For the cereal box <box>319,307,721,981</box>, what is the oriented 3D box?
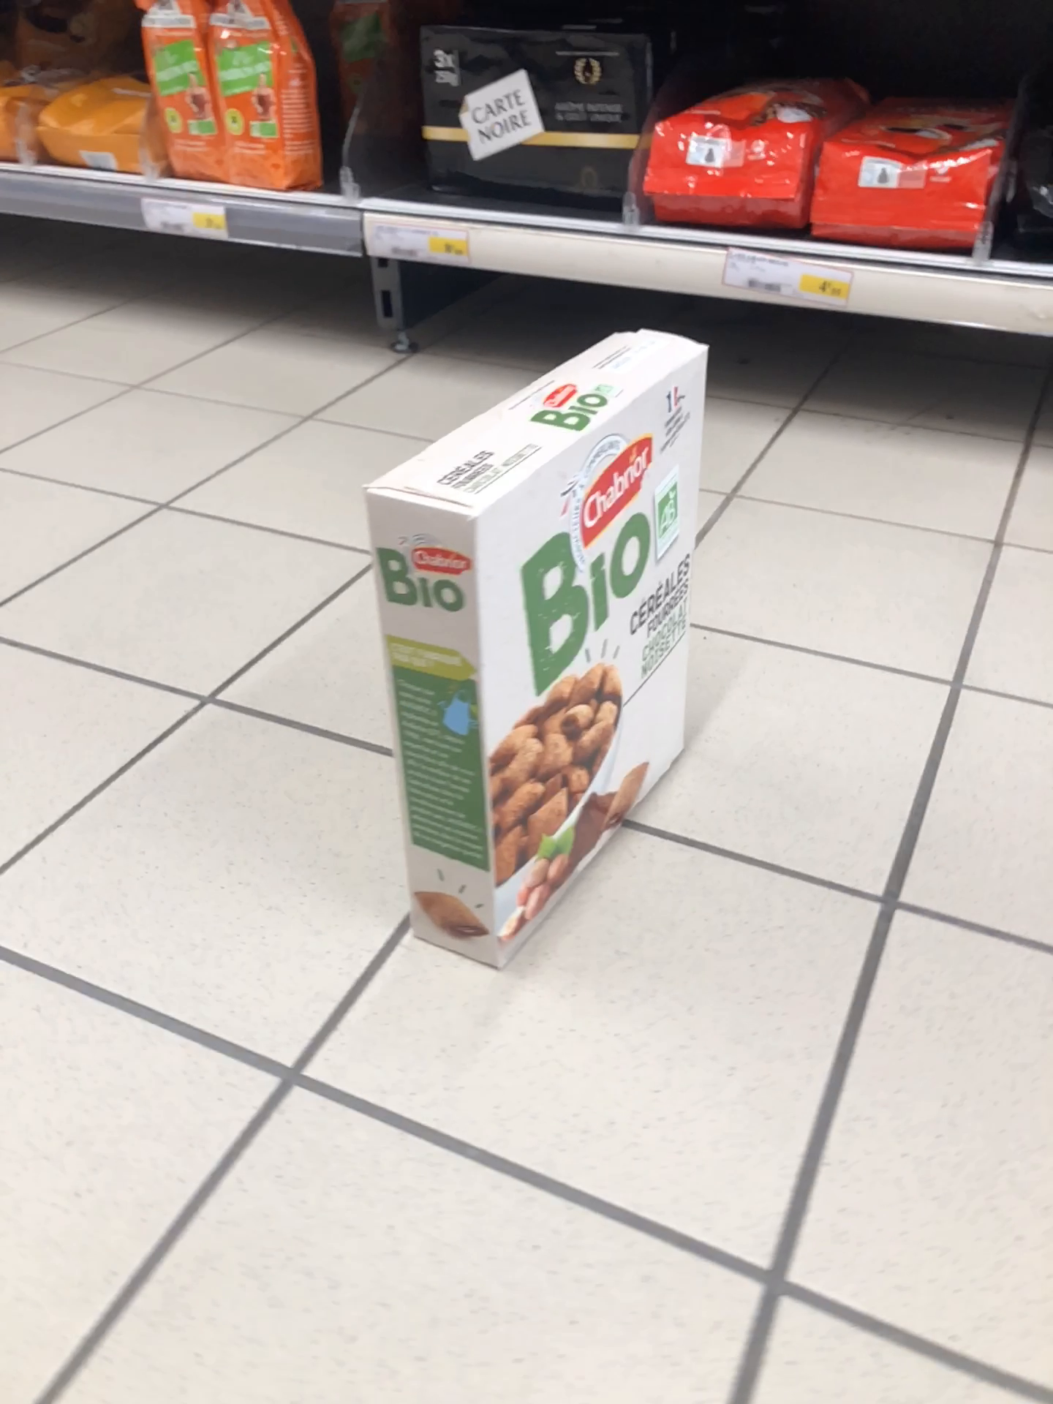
[{"bbox_3d":[0.011,-0.033,0.541,0.060,0.239,0.211,19,39,27],"label":"cereal box"}]
